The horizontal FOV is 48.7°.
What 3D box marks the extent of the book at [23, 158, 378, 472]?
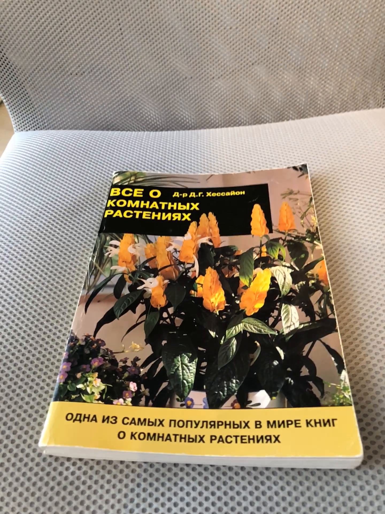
[{"bbox_3d":[0.008,0.015,0.291,0.170,0.030,0.231,0,48,5],"label":"book"}]
